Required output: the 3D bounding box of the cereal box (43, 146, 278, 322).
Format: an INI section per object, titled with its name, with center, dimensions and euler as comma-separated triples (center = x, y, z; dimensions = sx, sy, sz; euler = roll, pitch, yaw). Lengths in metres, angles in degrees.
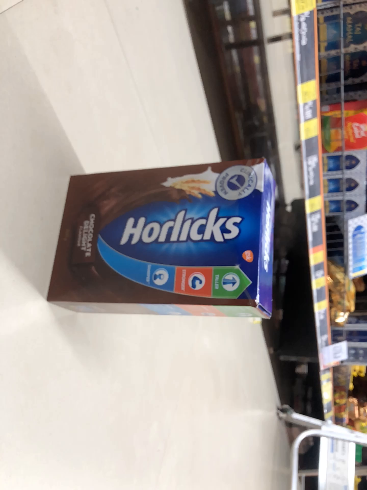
[cereal box]
center = -0.017, -0.006, 0.389
dimensions = 0.060, 0.199, 0.140
euler = 46, 46, -62
